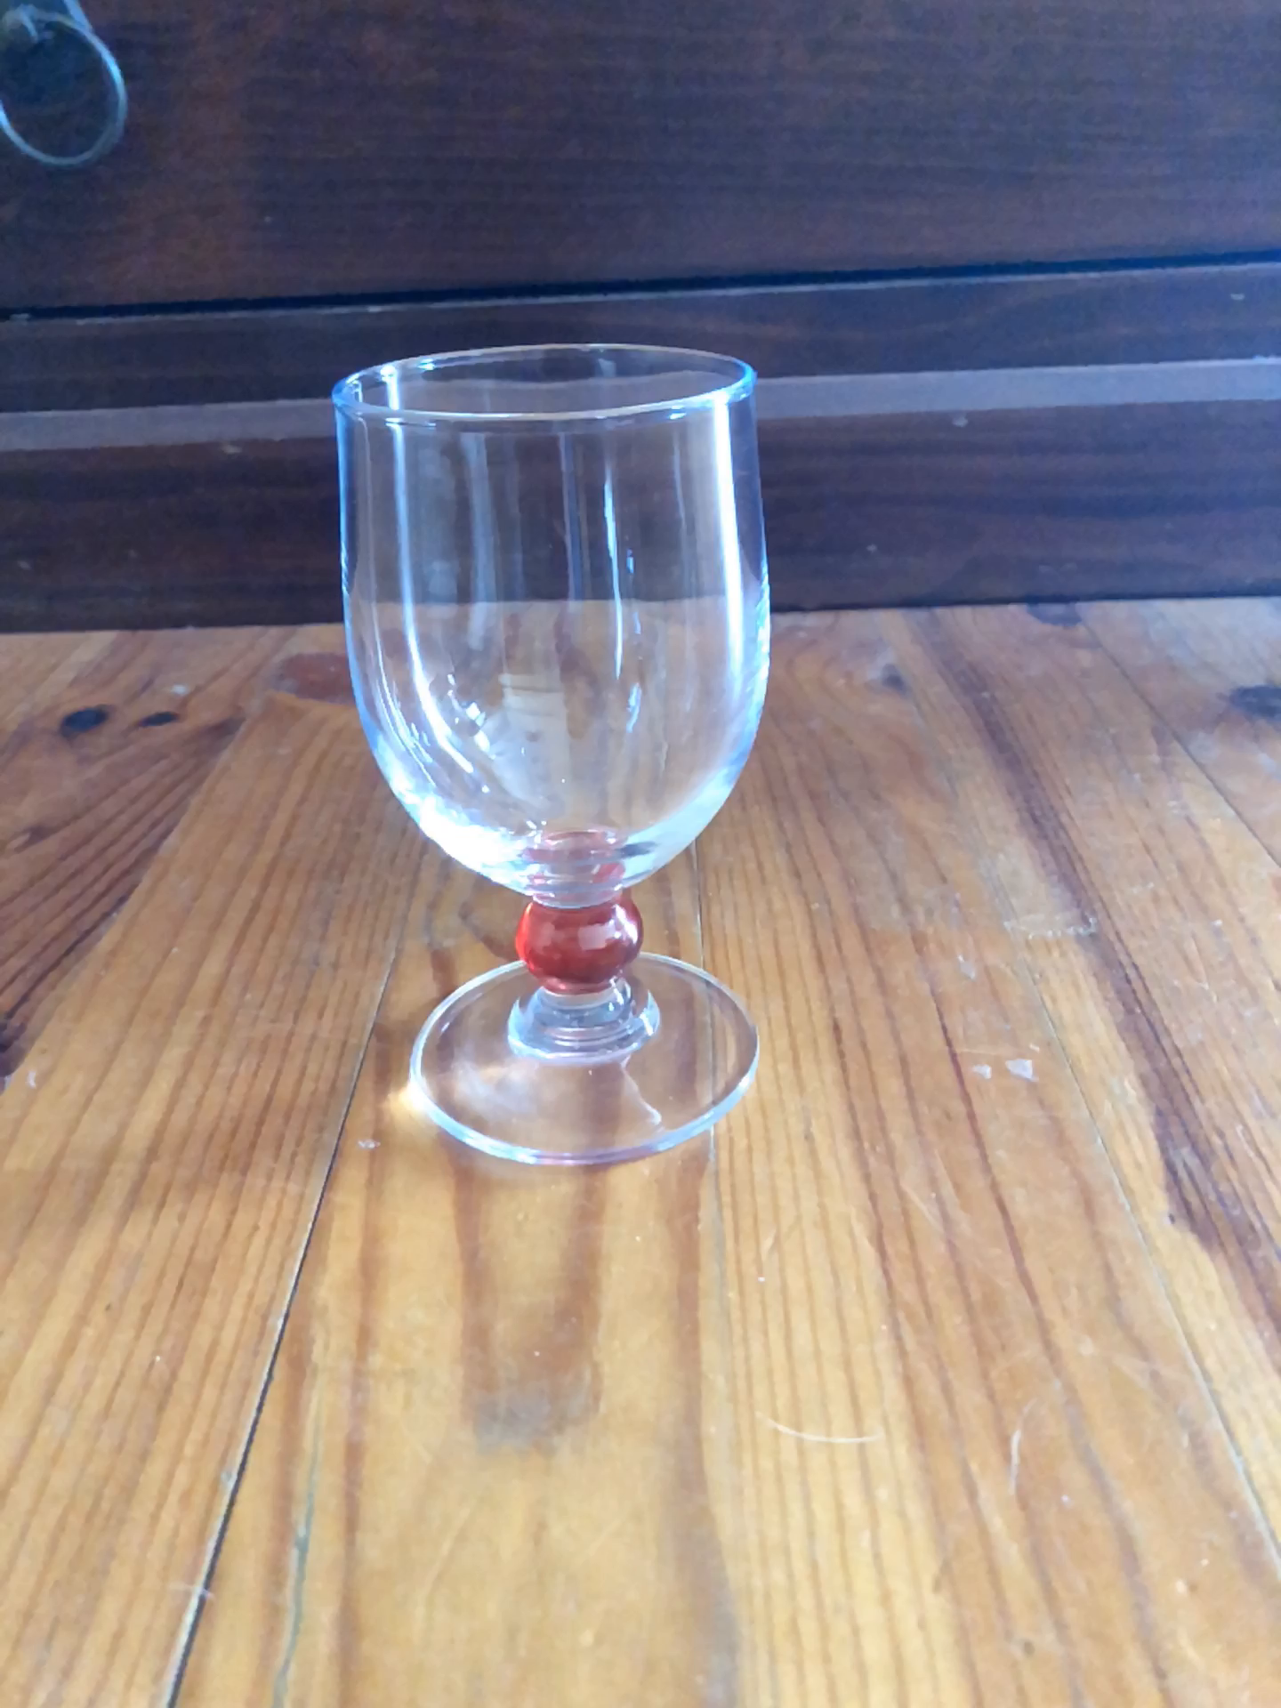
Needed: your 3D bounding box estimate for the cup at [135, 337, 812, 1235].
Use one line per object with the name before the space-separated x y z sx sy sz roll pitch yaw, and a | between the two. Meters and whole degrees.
cup | -0.017 -0.017 0.258 0.083 0.132 0.088 -3 27 1
